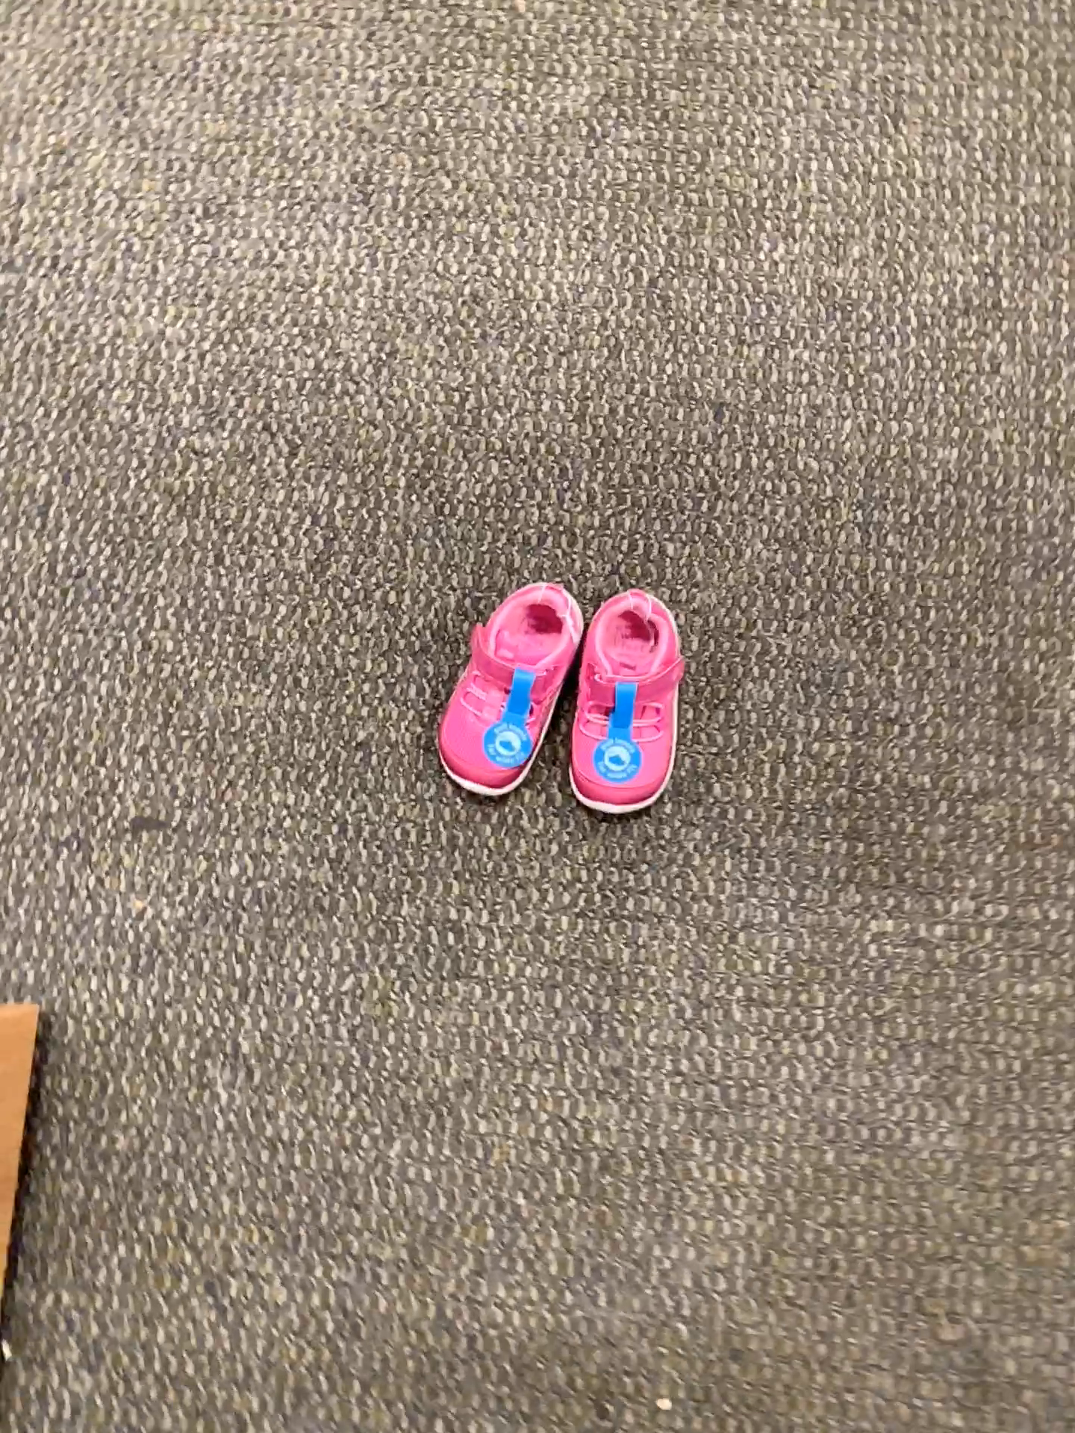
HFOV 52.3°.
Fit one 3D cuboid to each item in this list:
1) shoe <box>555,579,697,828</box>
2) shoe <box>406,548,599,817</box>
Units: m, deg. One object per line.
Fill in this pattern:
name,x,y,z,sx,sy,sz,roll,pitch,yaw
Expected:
shoe,0.053,-0.007,0.665,0.070,0.040,0.140,6,82,3
shoe,-0.019,-0.019,0.648,0.070,0.040,0.140,18,83,4
